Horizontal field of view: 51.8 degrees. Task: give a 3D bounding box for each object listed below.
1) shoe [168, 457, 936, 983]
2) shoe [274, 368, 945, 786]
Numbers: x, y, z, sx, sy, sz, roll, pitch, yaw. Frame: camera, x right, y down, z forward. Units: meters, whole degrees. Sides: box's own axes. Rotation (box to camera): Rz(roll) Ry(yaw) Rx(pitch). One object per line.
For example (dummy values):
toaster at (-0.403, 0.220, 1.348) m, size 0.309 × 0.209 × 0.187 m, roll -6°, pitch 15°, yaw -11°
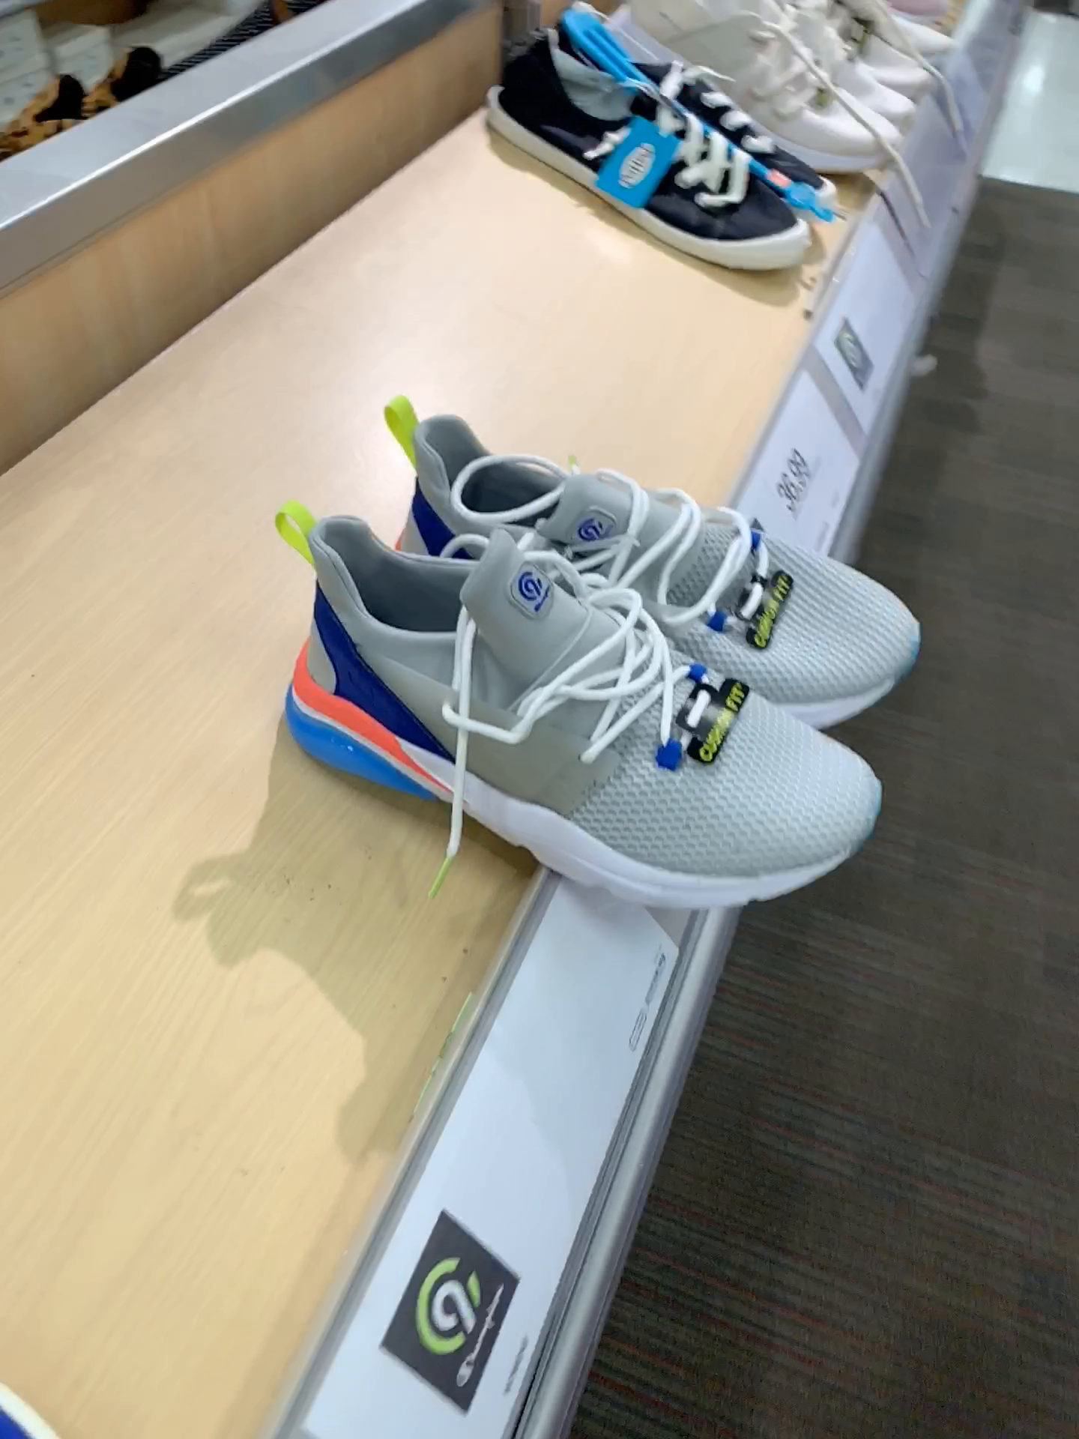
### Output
shoe at (0.005, -0.008, 0.454) m, size 0.270 × 0.090 × 0.110 m, roll 18°, pitch 48°, yaw 13°
shoe at (0.033, -0.070, 0.508) m, size 0.270 × 0.090 × 0.110 m, roll 13°, pitch 47°, yaw 9°
